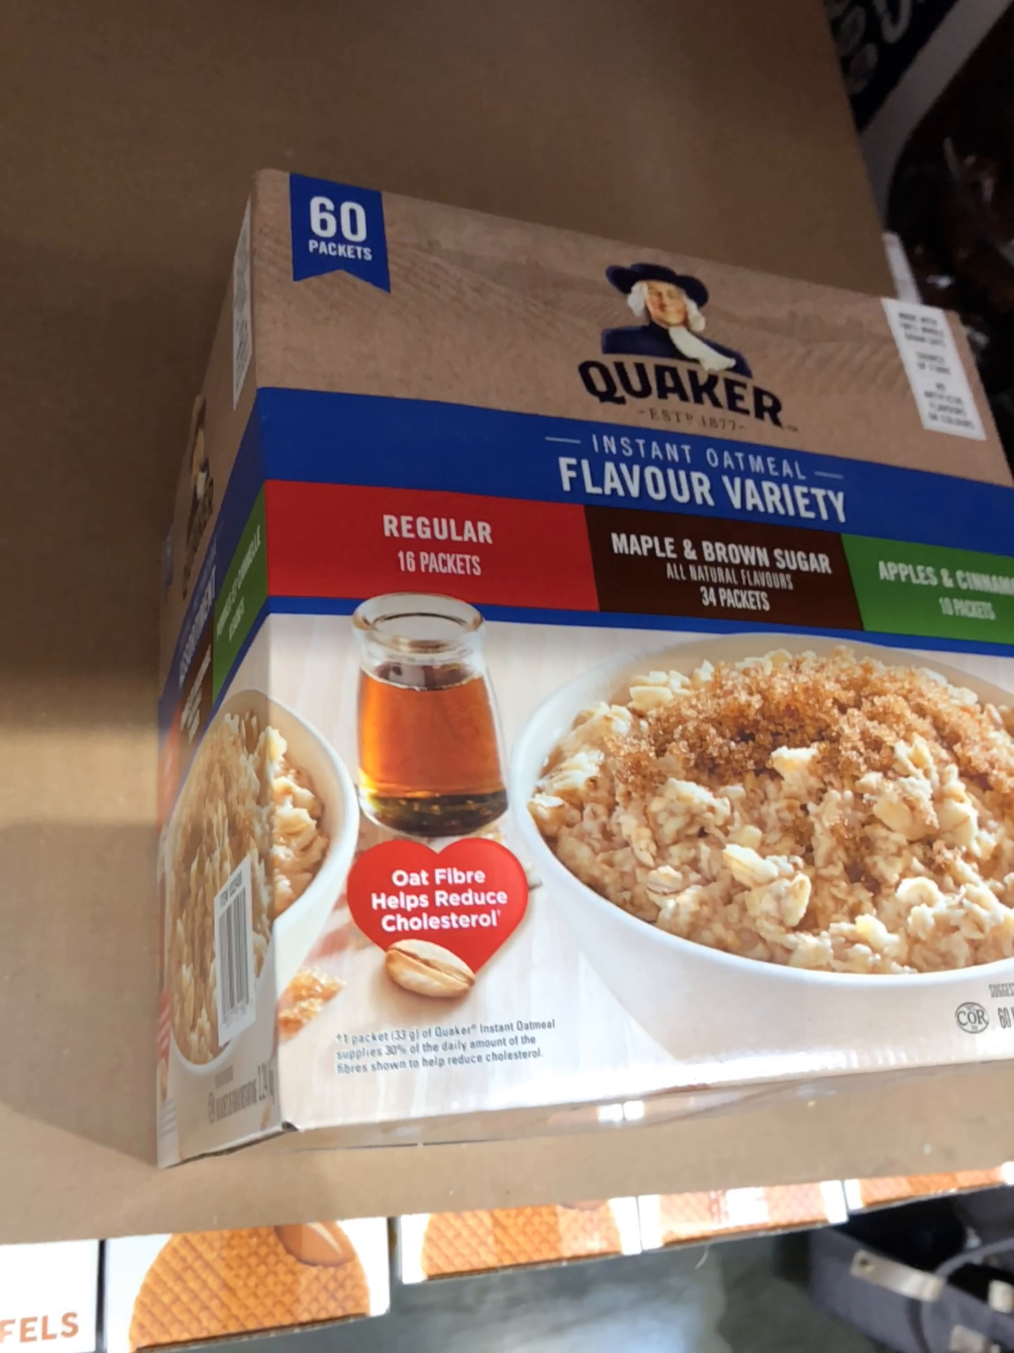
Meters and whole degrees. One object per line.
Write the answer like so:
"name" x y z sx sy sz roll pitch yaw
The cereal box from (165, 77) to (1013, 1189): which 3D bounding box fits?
"cereal box" 0.025 0.009 0.373 0.241 0.199 0.260 3 64 -22
